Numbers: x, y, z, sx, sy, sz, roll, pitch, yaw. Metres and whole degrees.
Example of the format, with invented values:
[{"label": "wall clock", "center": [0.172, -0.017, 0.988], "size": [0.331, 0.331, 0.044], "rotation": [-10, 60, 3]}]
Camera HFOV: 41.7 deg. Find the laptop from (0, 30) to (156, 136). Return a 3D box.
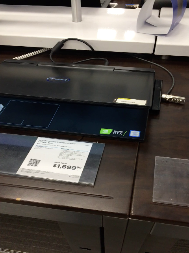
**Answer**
[{"label": "laptop", "center": [-0.085, -0.105, 0.548], "size": [0.411, 0.092, 0.230], "rotation": [6, 48, 3]}]
